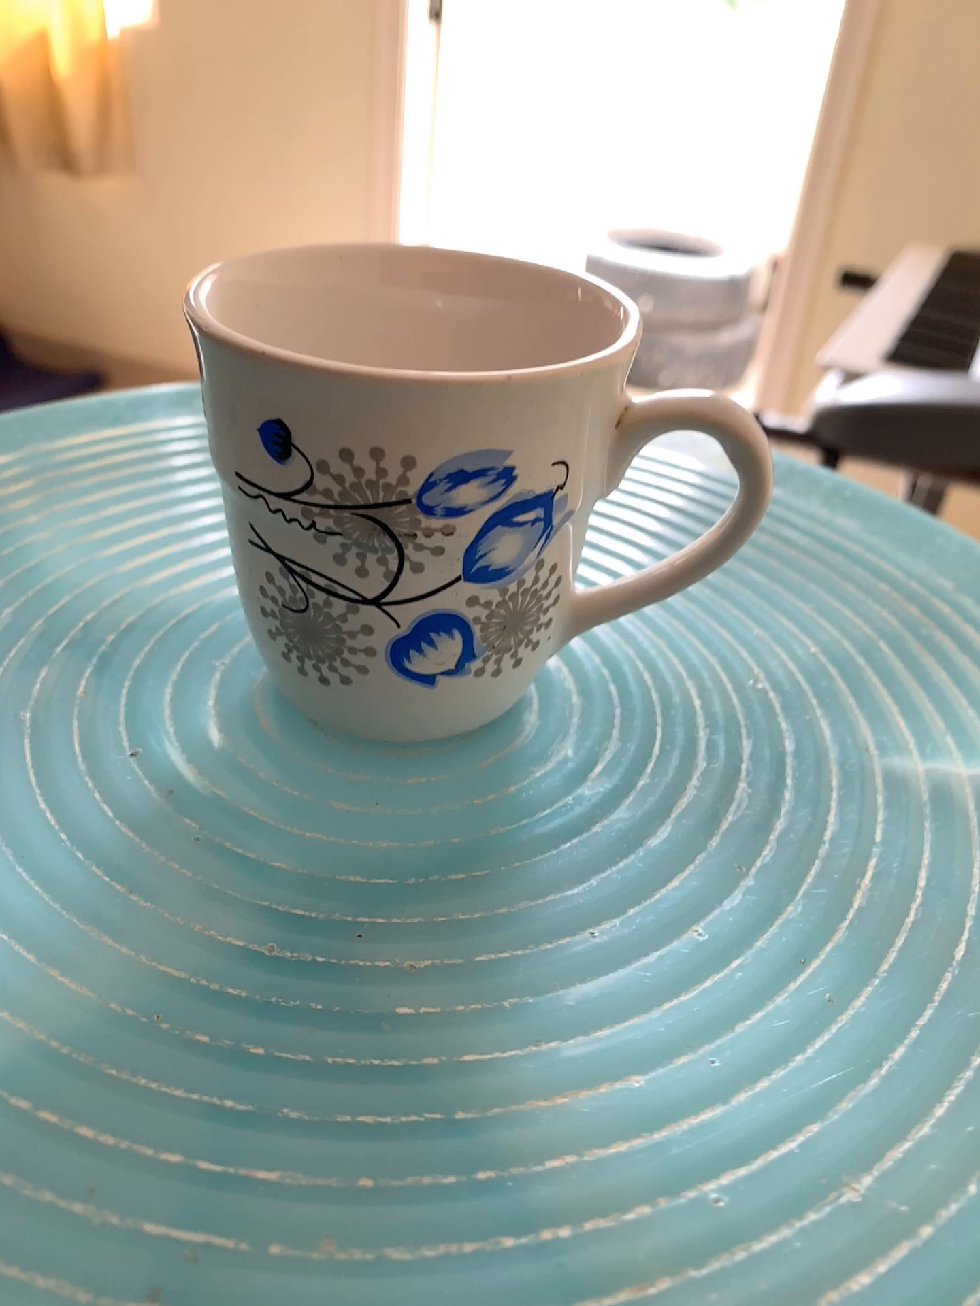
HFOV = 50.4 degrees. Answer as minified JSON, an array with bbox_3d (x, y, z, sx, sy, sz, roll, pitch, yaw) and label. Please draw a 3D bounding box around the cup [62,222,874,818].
[{"bbox_3d":[-0.004,-0.024,0.161,0.090,0.060,0.071,4,33,-2],"label":"cup"}]
